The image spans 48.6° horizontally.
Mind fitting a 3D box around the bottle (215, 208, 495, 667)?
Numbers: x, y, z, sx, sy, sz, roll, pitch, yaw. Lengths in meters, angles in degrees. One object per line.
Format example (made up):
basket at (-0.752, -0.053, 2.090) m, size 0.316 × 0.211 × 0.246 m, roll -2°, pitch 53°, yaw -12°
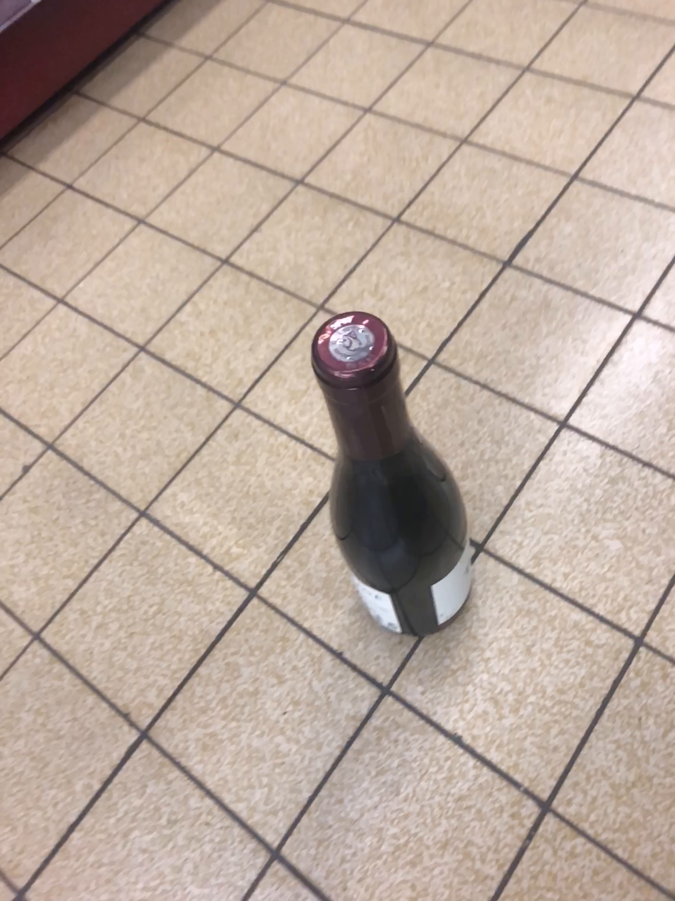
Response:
bottle at (0.023, 0.019, 0.339) m, size 0.070 × 0.239 × 0.080 m, roll -19°, pitch 58°, yaw 1°
